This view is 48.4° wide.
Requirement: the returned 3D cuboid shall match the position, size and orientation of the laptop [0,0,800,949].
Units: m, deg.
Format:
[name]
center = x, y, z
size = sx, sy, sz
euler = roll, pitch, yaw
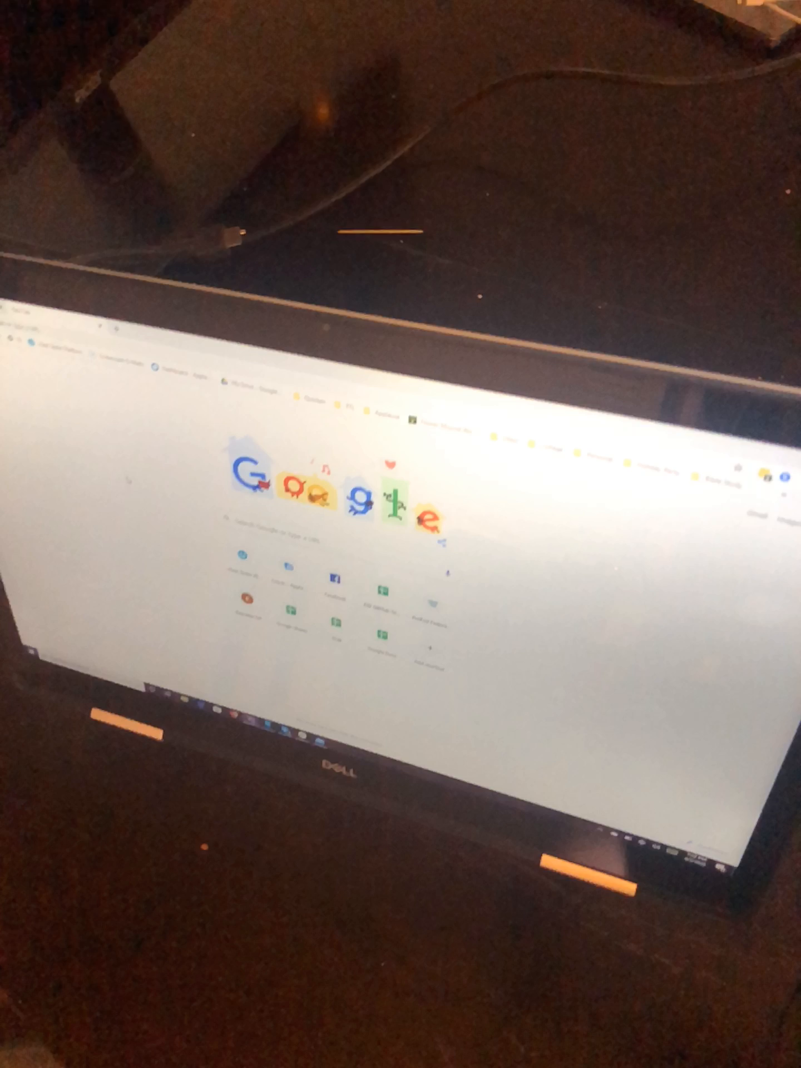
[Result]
[laptop]
center = -0.007, -0.035, 0.392
size = 0.419, 0.233, 0.267
euler = 14, 72, 16
